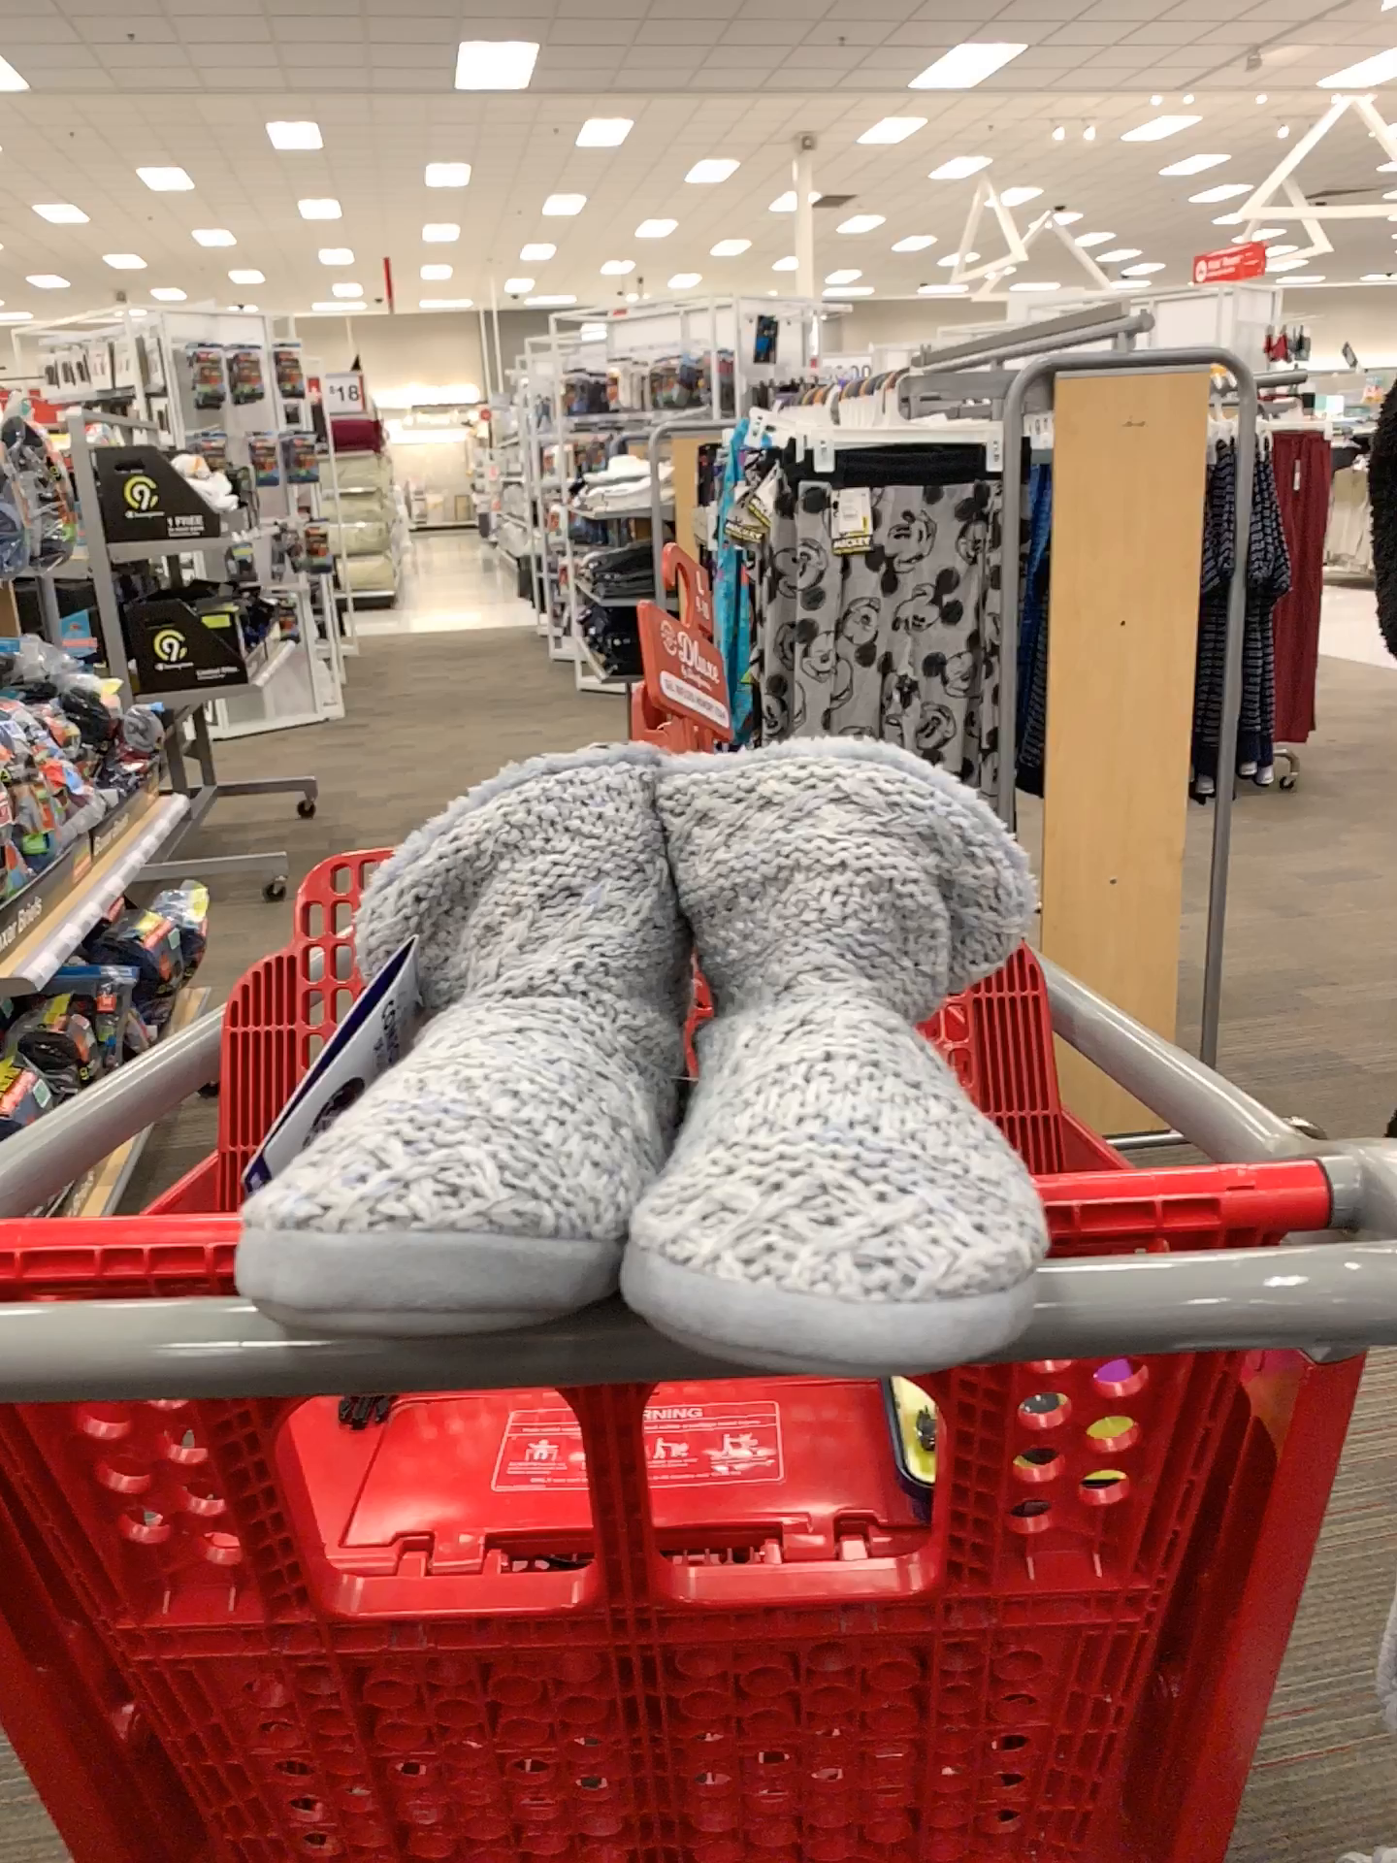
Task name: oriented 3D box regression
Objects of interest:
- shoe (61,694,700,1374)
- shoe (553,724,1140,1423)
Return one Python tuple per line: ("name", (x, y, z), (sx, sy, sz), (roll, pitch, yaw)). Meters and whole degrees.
("shoe", (-0.070, 0.007, 0.446), (0.110, 0.140, 0.251), (-1, 13, 7))
("shoe", (0.041, 0.015, 0.394), (0.110, 0.120, 0.231), (-1, 13, 7))
